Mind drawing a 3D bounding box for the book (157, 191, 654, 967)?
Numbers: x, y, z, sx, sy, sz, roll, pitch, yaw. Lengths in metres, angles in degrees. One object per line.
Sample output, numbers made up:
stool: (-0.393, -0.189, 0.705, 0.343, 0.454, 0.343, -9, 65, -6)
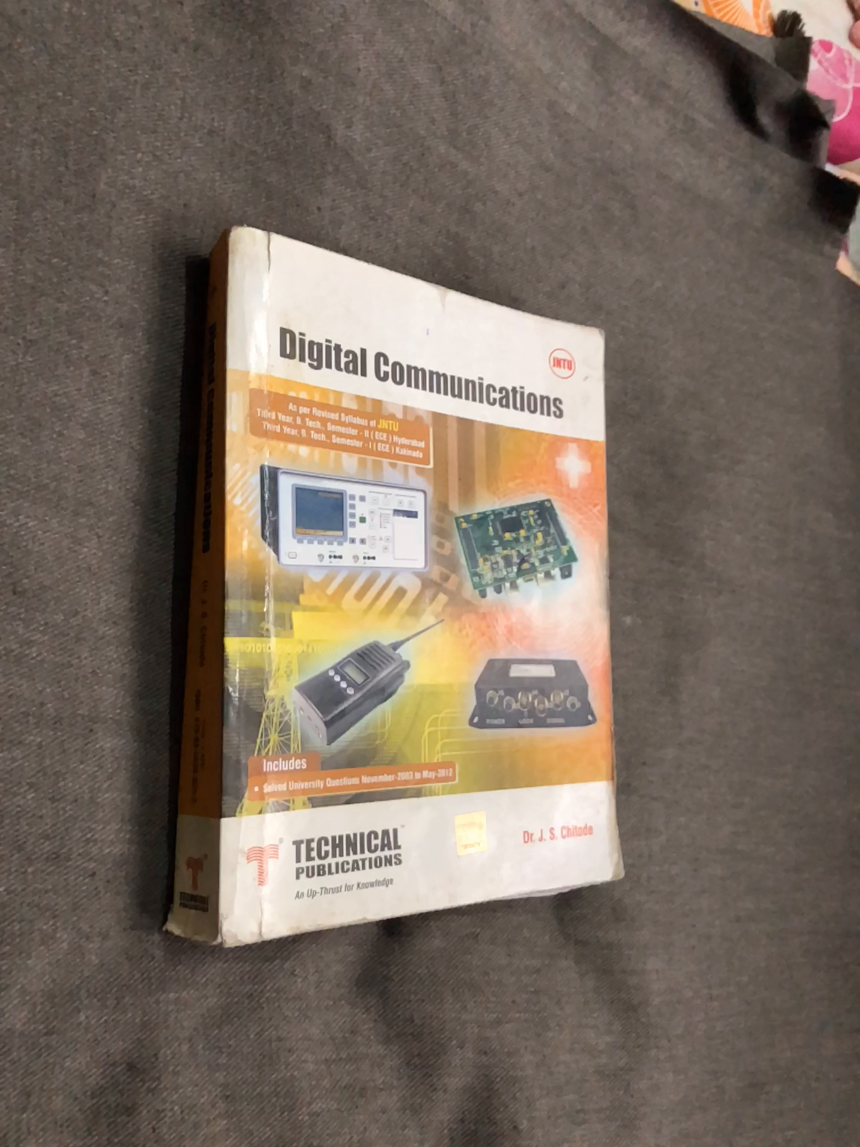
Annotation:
book: (-0.001, 0.005, 0.365, 0.182, 0.050, 0.241, 6, 80, -33)
